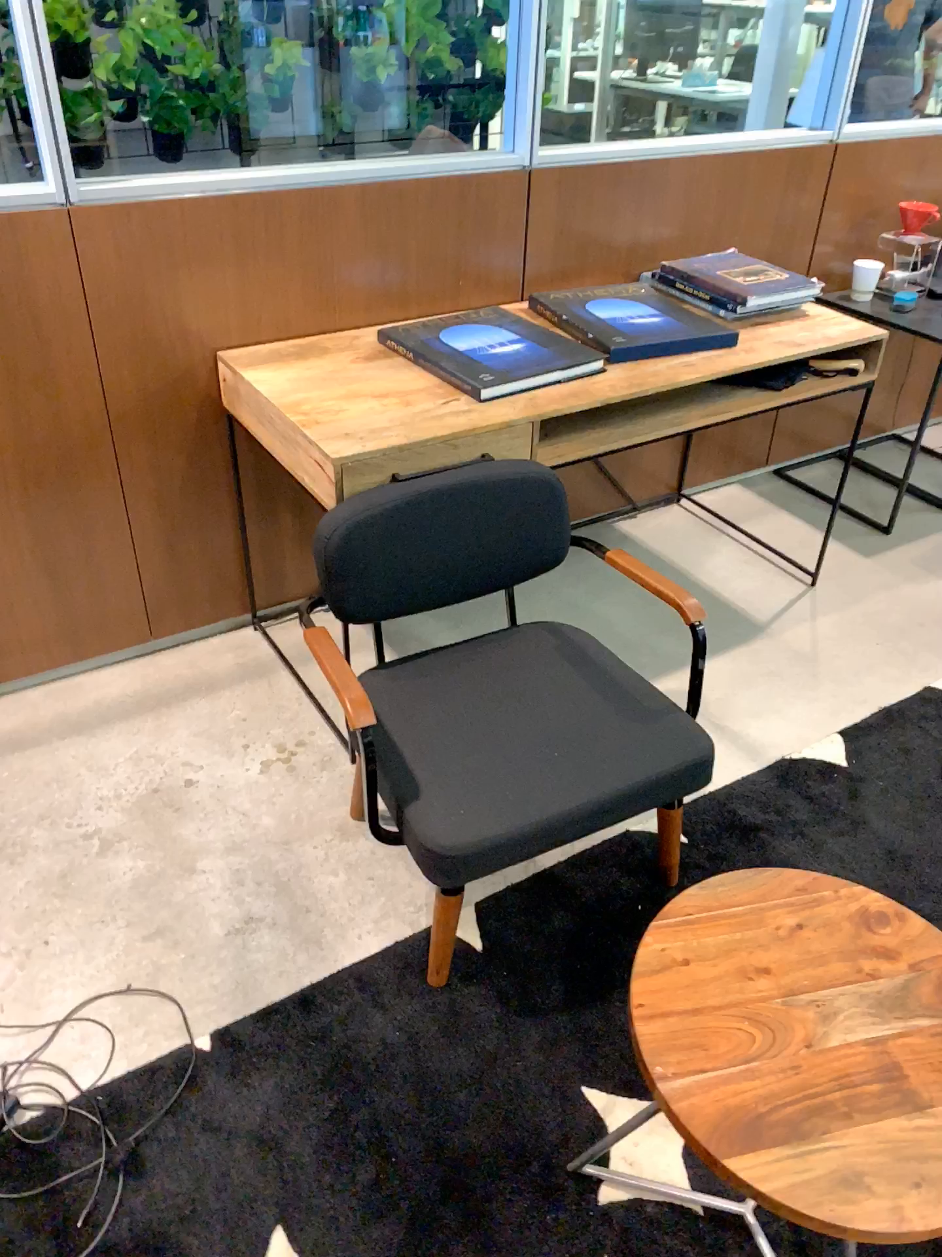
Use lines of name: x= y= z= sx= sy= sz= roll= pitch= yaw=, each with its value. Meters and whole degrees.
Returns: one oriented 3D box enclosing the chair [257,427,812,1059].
chair: x=0.079 y=0.187 z=1.905 sx=0.750 sy=0.875 sz=0.613 roll=-16 pitch=38 yaw=-24
